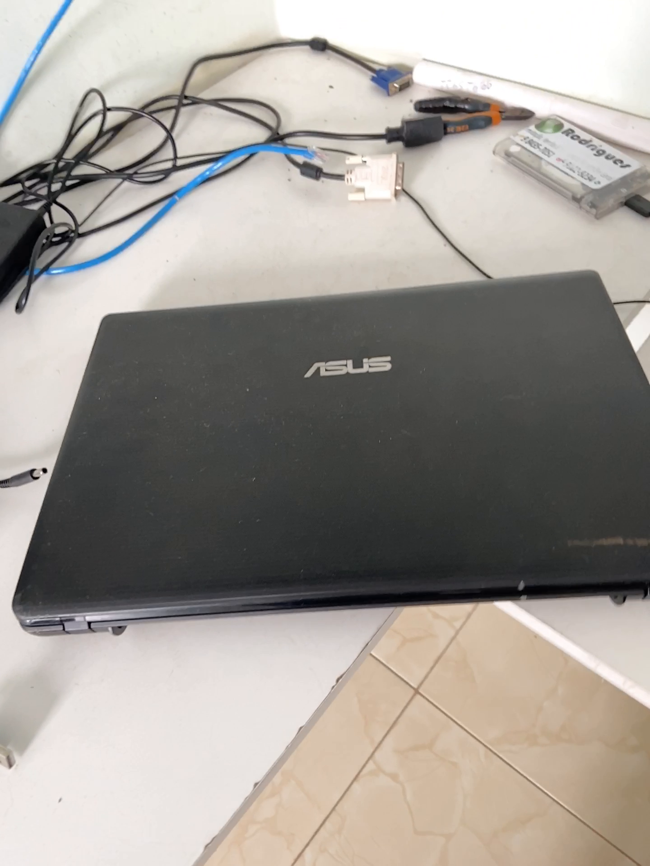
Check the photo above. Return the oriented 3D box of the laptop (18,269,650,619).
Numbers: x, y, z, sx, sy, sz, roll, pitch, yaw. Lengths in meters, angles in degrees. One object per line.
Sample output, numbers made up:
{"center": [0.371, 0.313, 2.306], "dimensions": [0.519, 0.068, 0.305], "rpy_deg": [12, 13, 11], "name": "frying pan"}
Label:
{"center": [0.018, -0.009, 0.440], "dimensions": [0.380, 0.010, 0.254], "rpy_deg": [-5, 50, 4], "name": "laptop"}
